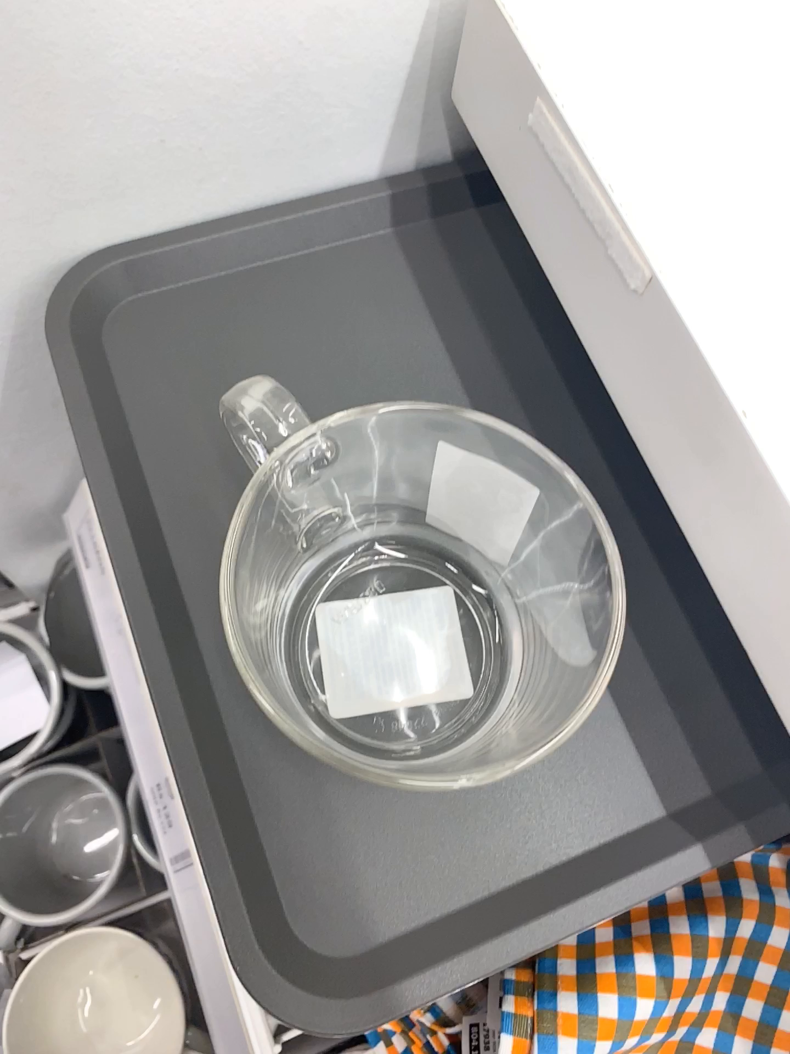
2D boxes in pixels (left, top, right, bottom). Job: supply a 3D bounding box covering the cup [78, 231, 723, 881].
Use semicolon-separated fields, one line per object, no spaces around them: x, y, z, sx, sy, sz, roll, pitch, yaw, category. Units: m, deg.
-0.004;0.009;0.230;0.100;0.080;0.130;-28;74;-16;cup
